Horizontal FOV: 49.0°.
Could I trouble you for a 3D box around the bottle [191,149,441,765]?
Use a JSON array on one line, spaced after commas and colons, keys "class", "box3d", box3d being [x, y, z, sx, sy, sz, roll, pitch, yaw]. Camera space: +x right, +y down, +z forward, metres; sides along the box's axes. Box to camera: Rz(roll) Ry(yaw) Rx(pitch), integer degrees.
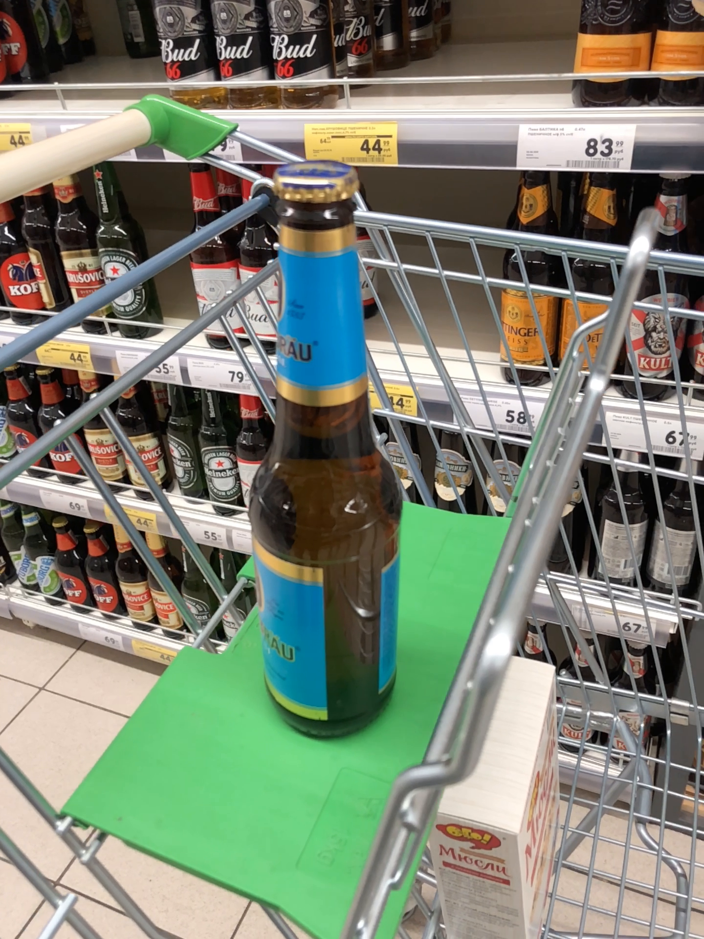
[{"class": "bottle", "box3d": [-0.008, 0.009, 0.318, 0.070, 0.249, 0.080, 0, 34, 1]}]
